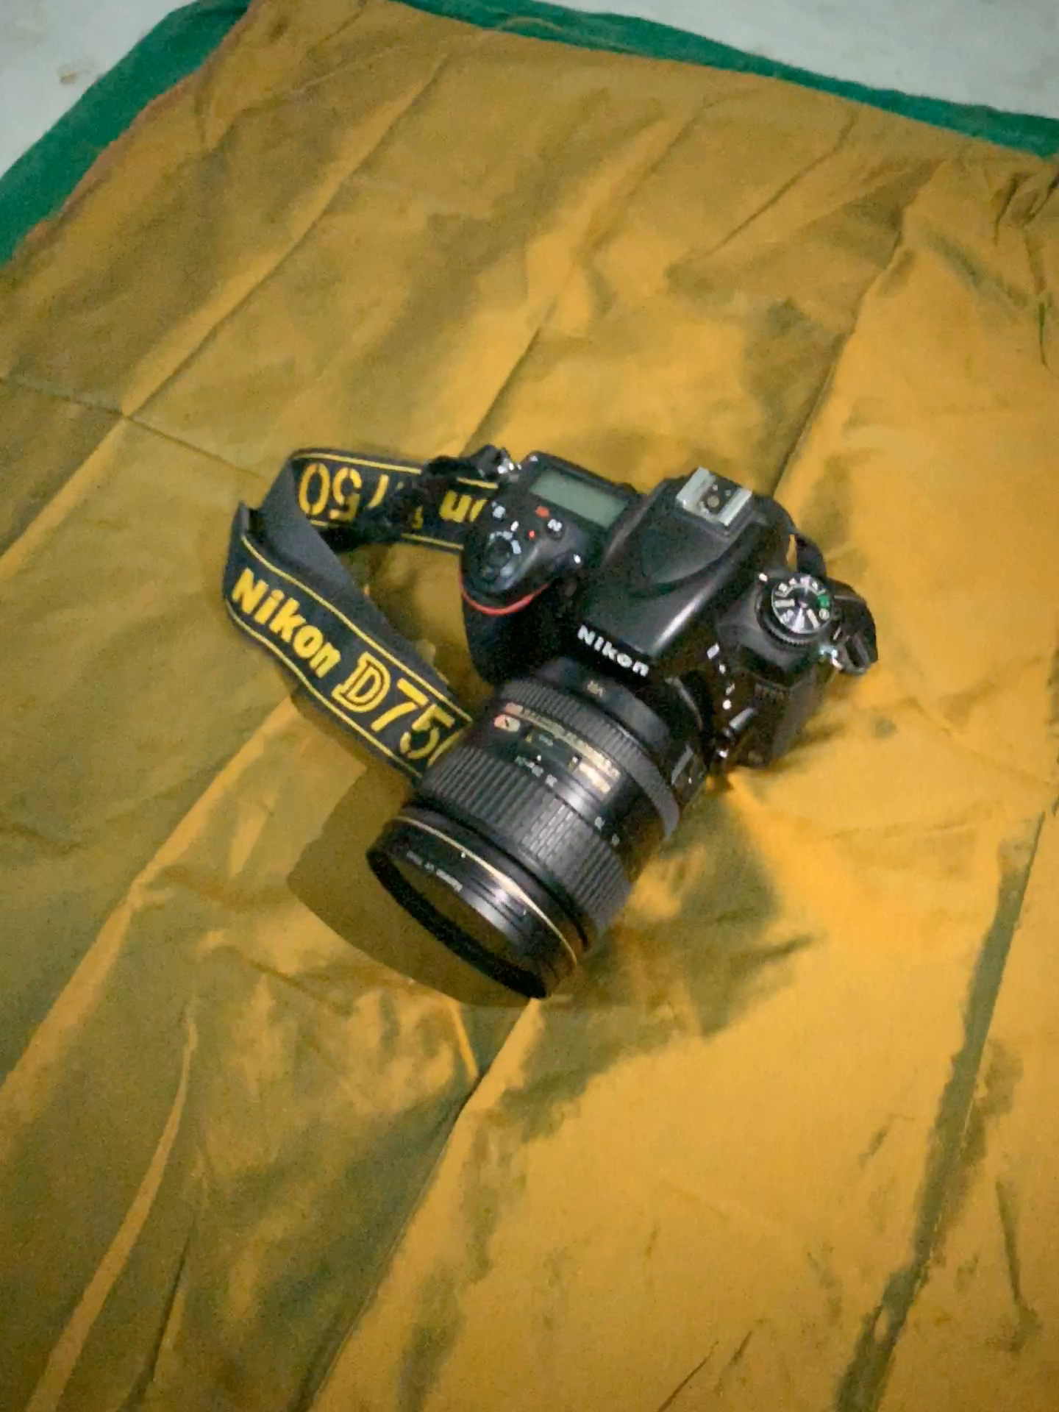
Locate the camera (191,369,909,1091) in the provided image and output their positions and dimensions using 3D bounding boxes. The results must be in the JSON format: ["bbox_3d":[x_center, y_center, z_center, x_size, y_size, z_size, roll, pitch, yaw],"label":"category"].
[{"bbox_3d":[0.013,0.003,0.395,0.150,0.101,0.190,30,66,18],"label":"camera"}]
